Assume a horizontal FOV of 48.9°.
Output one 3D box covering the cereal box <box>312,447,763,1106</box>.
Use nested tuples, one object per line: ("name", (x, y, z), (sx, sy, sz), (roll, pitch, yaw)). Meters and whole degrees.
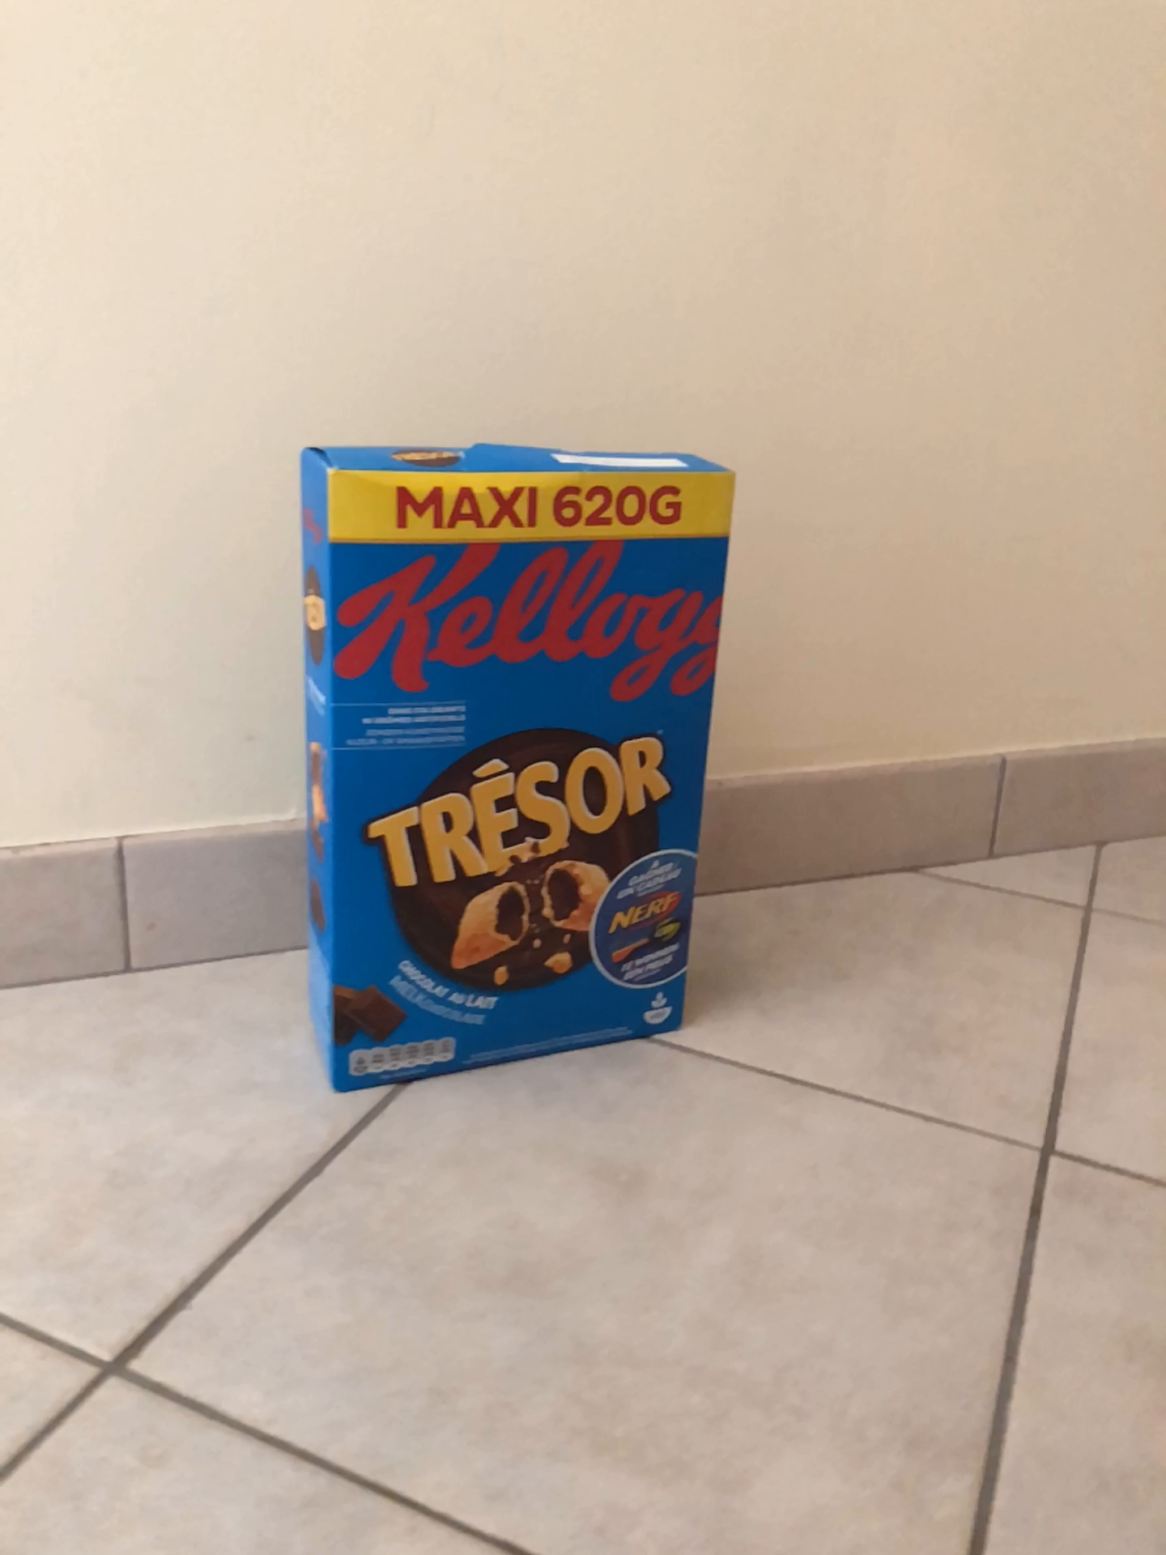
("cereal box", (-0.028, -0.003, 0.627), (0.190, 0.299, 0.070), (-5, 22, -22))
